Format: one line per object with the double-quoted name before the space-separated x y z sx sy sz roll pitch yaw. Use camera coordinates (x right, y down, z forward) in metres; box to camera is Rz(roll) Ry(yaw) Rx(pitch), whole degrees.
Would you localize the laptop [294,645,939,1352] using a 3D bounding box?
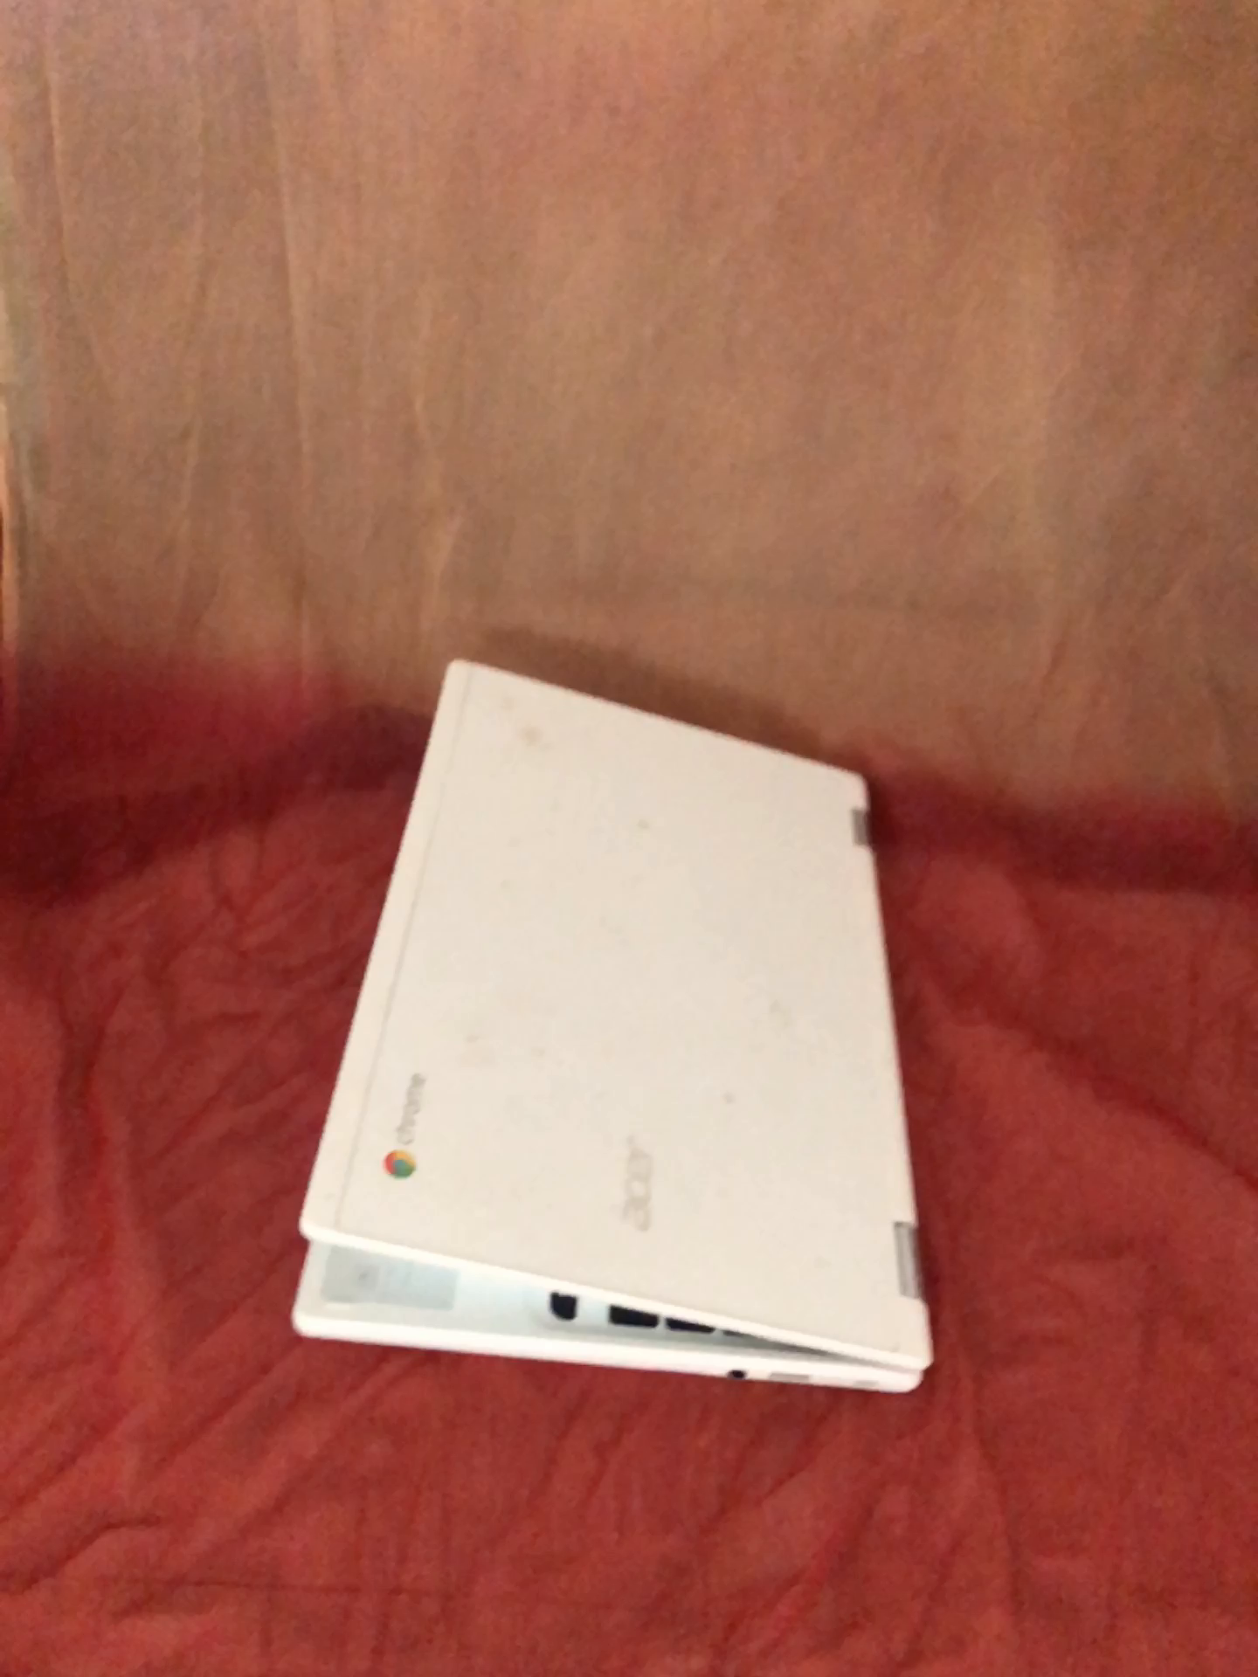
"laptop" 0.005 0.037 0.534 0.189 0.055 0.290 6 41 1
